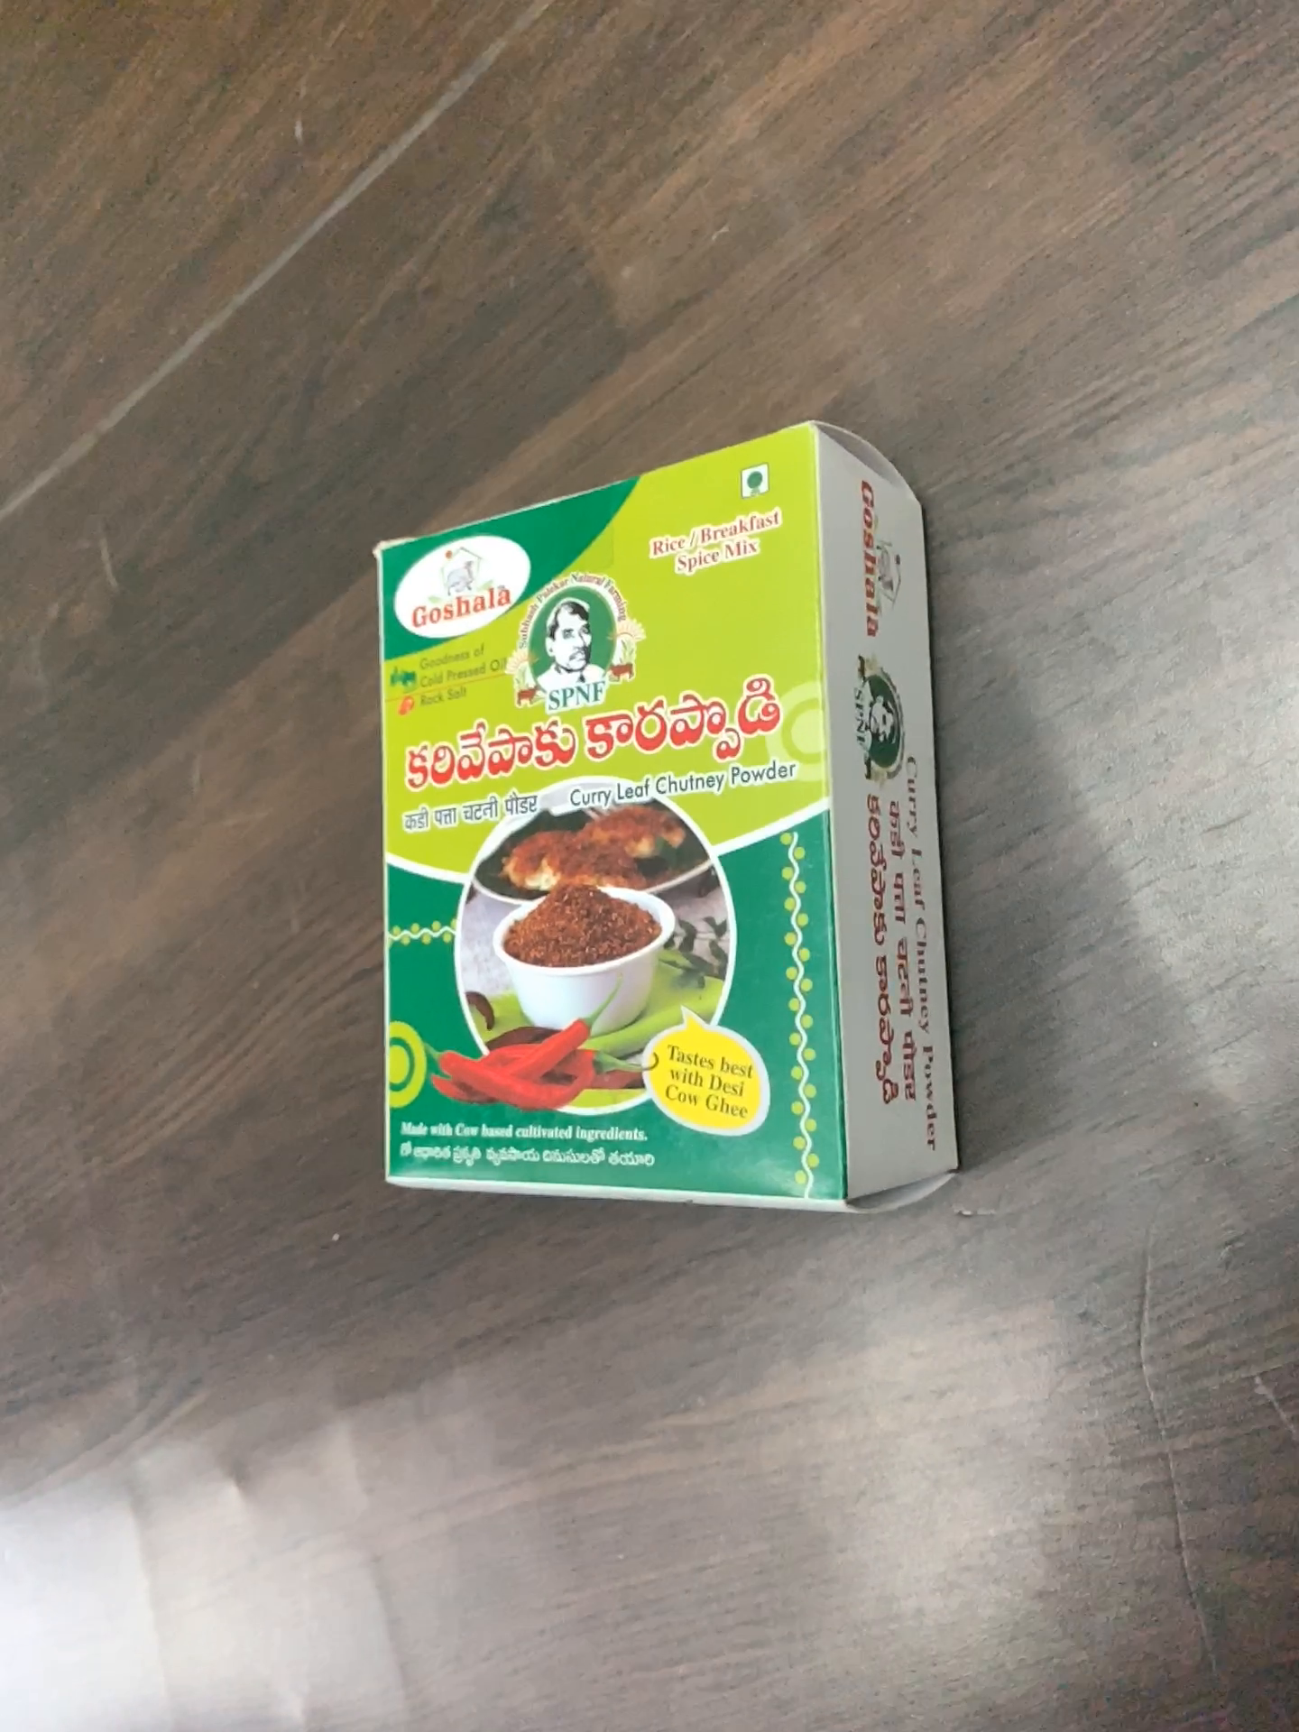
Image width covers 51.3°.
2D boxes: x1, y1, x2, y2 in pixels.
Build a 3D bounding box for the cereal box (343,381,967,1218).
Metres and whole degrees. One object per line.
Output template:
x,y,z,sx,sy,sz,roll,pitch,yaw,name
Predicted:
-0.003,-0.005,0.236,0.100,0.040,0.120,-6,81,34,cereal box
